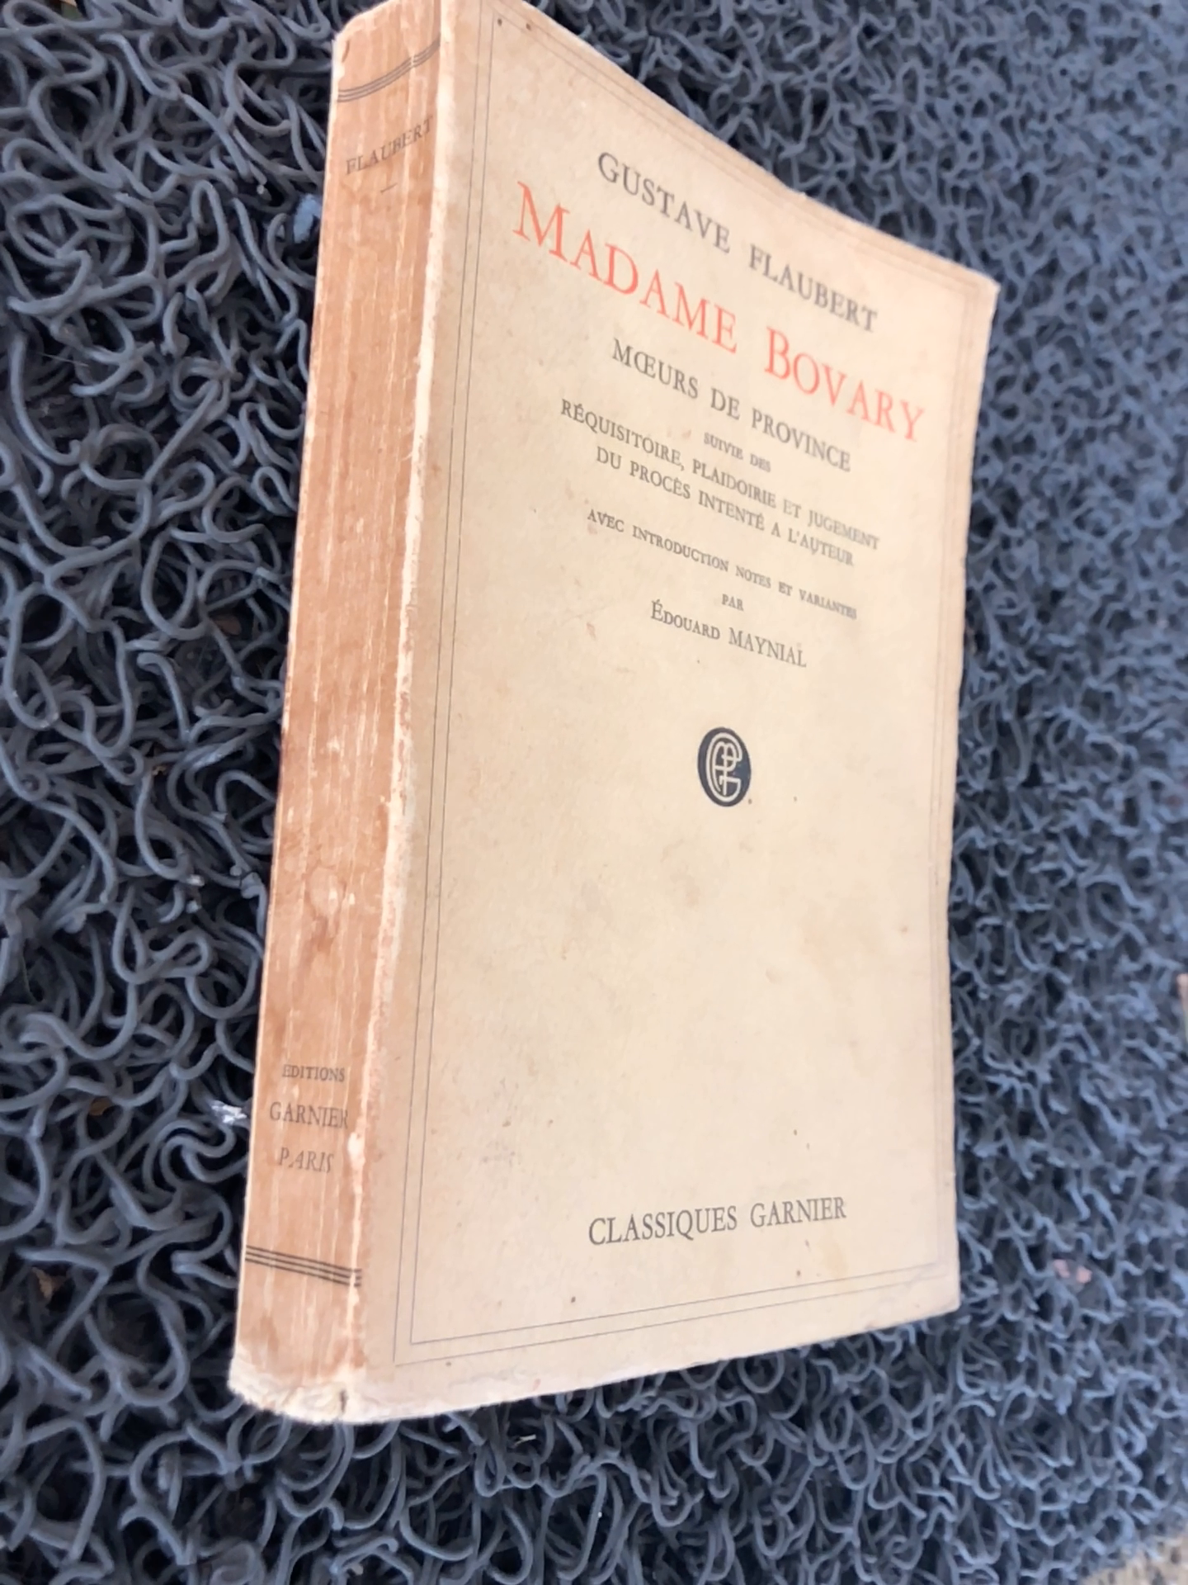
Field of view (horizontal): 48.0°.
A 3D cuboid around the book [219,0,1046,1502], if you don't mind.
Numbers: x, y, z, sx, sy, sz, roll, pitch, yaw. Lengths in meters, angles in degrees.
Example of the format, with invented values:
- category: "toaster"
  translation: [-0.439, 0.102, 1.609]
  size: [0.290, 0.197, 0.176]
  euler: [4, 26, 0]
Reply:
- category: "book"
  translation: [0.017, -0.010, 0.199]
  size: [0.124, 0.035, 0.180]
  euler: [11, 76, -42]
